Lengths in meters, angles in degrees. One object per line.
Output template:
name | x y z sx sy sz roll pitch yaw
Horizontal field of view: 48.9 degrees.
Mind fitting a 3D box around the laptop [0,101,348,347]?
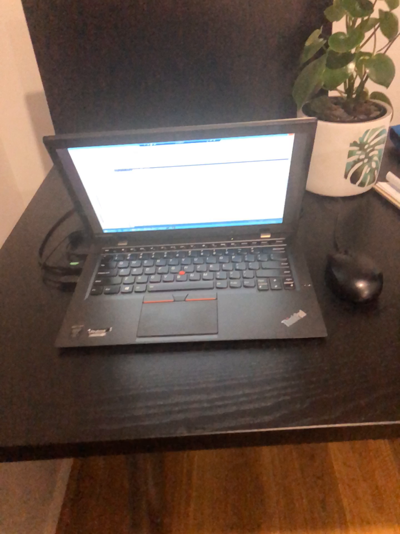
laptop | -0.026 -0.065 0.576 0.340 0.214 0.245 -3 34 3
